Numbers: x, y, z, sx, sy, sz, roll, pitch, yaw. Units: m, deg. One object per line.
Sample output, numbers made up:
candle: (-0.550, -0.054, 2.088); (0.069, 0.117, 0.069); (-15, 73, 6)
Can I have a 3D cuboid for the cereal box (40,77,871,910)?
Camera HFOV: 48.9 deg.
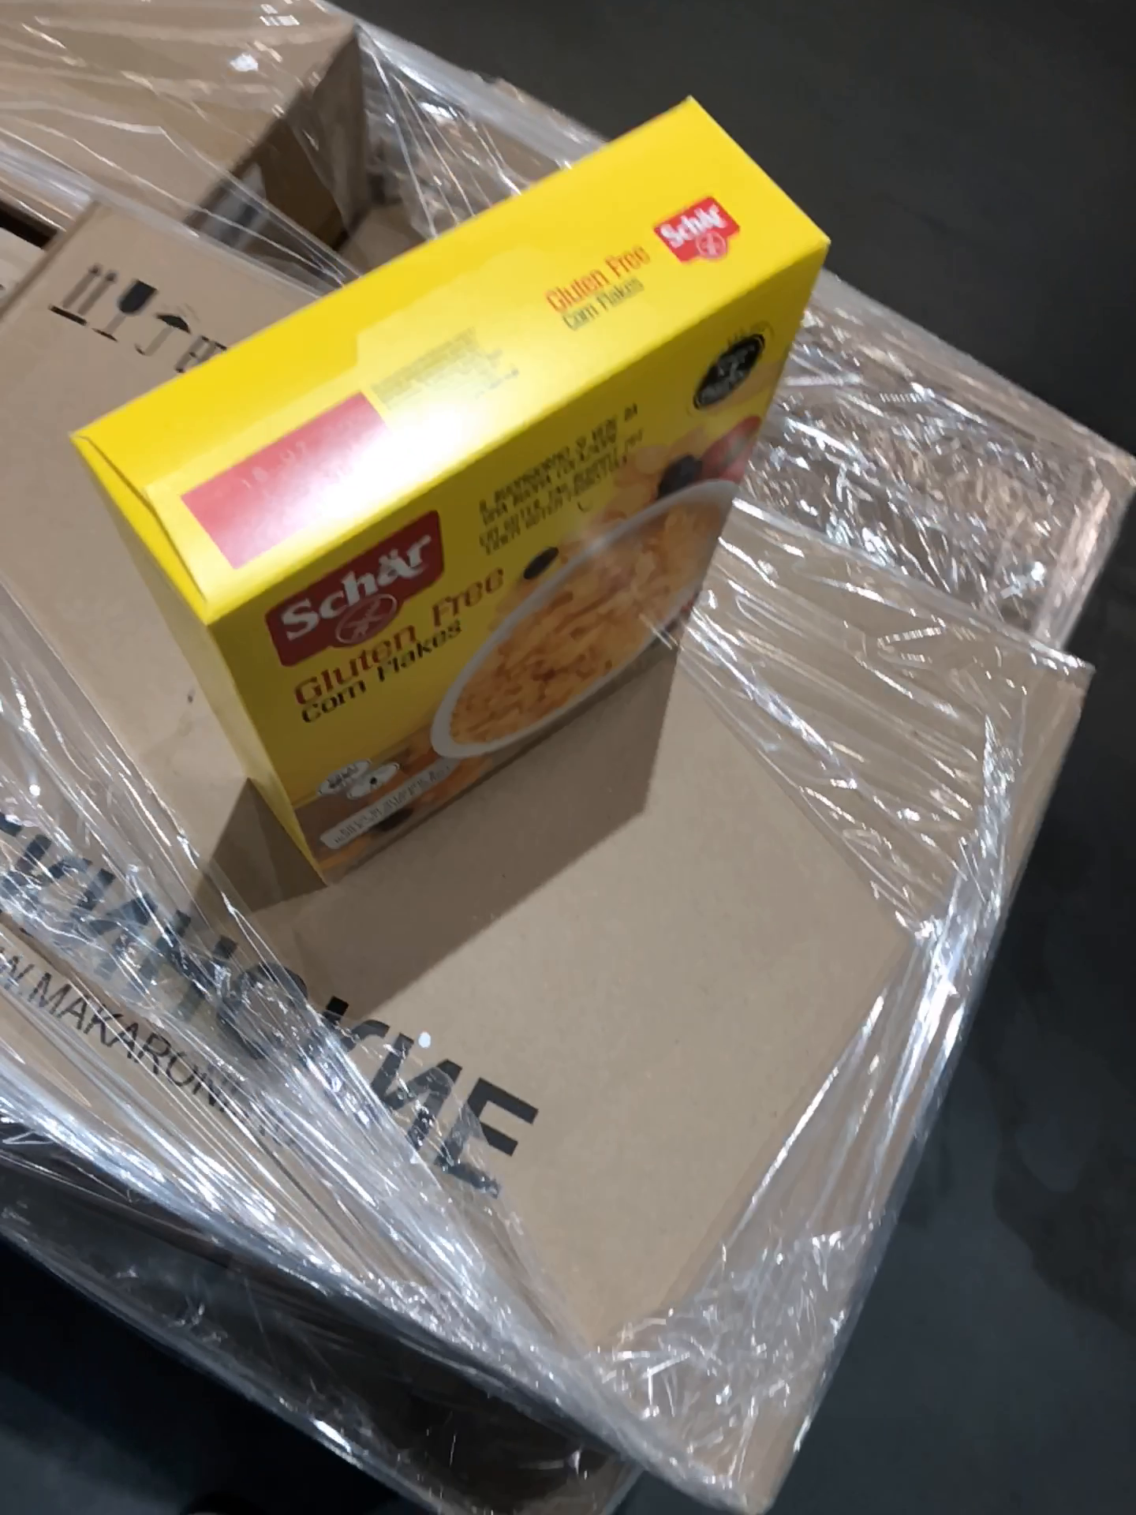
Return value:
cereal box: (-0.031, -0.060, 0.414); (0.200, 0.249, 0.060); (-35, 77, -16)
